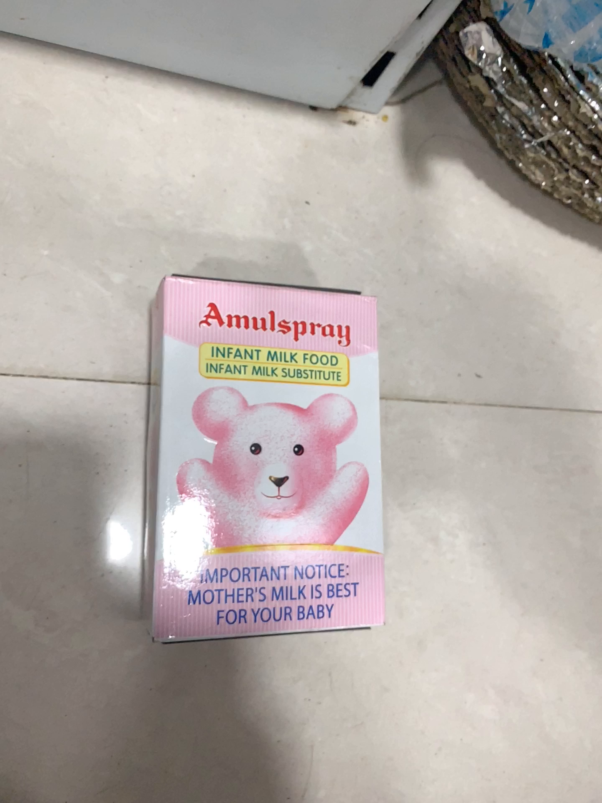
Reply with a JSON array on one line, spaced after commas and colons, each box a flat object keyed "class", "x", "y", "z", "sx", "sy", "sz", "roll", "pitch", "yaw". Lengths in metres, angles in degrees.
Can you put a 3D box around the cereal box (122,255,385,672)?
[{"class": "cereal box", "x": -0.021, "y": 0.023, "z": 0.248, "sx": 0.090, "sy": 0.050, "sz": 0.140, "roll": 2, "pitch": 80, "yaw": -18}]
